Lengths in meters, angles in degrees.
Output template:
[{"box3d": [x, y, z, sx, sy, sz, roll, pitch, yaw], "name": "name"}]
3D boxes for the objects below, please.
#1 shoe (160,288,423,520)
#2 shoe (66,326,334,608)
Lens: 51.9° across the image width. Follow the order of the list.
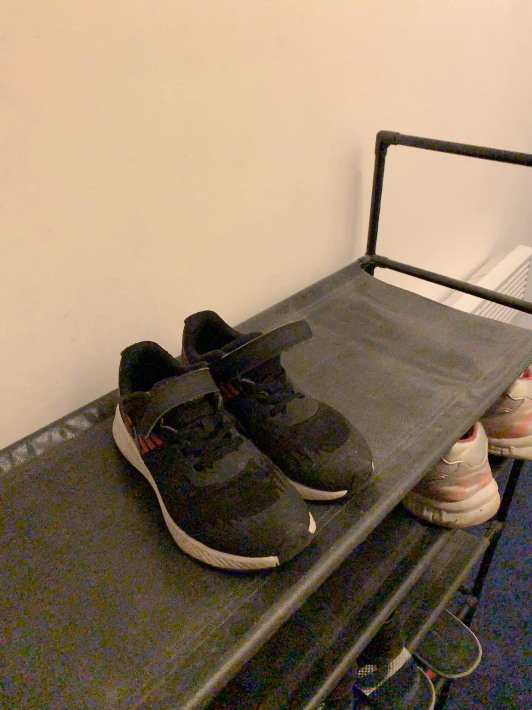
[{"box3d": [0.012, 0.026, 0.447, 0.090, 0.079, 0.201, -27, 40, -35], "name": "shoe"}, {"box3d": [-0.055, 0.064, 0.402, 0.090, 0.079, 0.201, -25, 39, -32], "name": "shoe"}]
